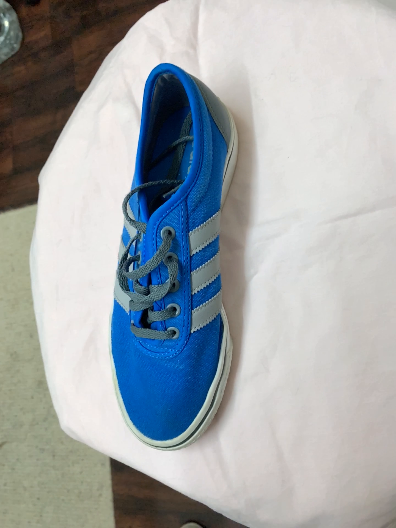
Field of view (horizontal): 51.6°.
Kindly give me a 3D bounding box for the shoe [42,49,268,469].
[{"bbox_3d":[-0.023,-0.006,0.287,0.100,0.090,0.234,5,87,23],"label":"shoe"}]
